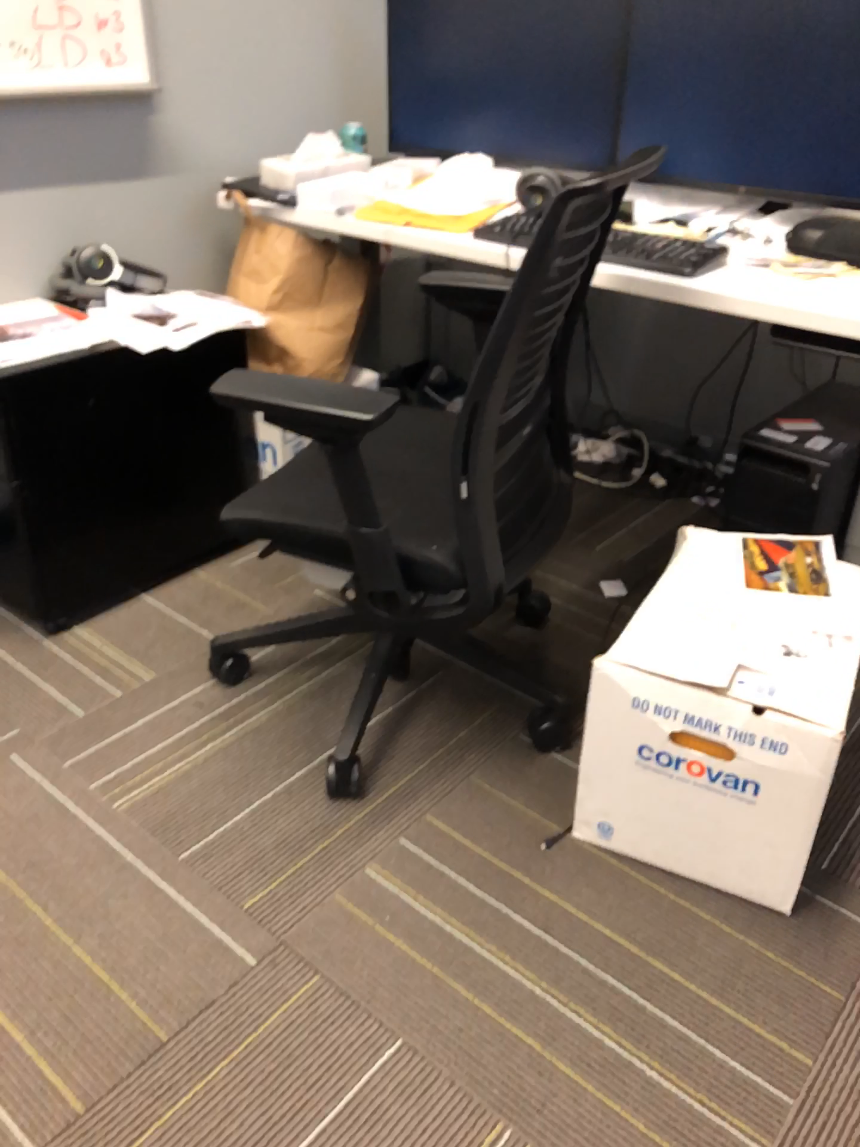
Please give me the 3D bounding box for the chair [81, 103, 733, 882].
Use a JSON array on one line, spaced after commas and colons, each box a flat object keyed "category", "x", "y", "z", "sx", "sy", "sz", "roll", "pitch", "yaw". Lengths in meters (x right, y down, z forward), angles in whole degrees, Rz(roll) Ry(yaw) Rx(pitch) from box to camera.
[{"category": "chair", "x": 0.028, "y": -0.212, "z": 1.621, "sx": 0.701, "sy": 0.994, "sz": 0.784, "roll": 12, "pitch": 32, "yaw": 18}]
